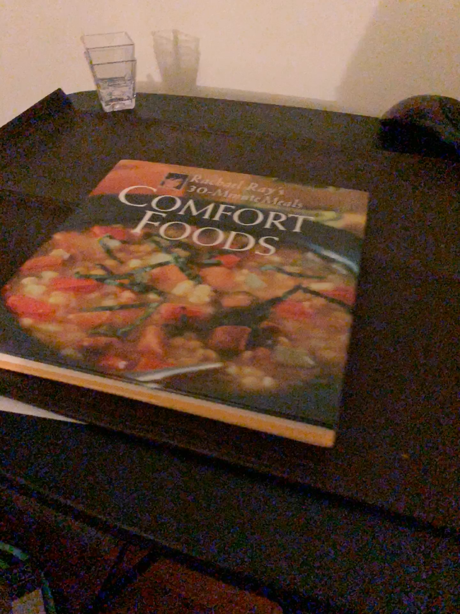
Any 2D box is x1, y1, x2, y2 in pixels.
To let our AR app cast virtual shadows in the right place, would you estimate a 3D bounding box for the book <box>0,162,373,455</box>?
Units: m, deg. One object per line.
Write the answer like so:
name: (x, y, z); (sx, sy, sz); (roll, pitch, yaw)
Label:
book: (-0.021, -0.025, 0.297); (0.200, 0.020, 0.201); (10, 45, 12)
